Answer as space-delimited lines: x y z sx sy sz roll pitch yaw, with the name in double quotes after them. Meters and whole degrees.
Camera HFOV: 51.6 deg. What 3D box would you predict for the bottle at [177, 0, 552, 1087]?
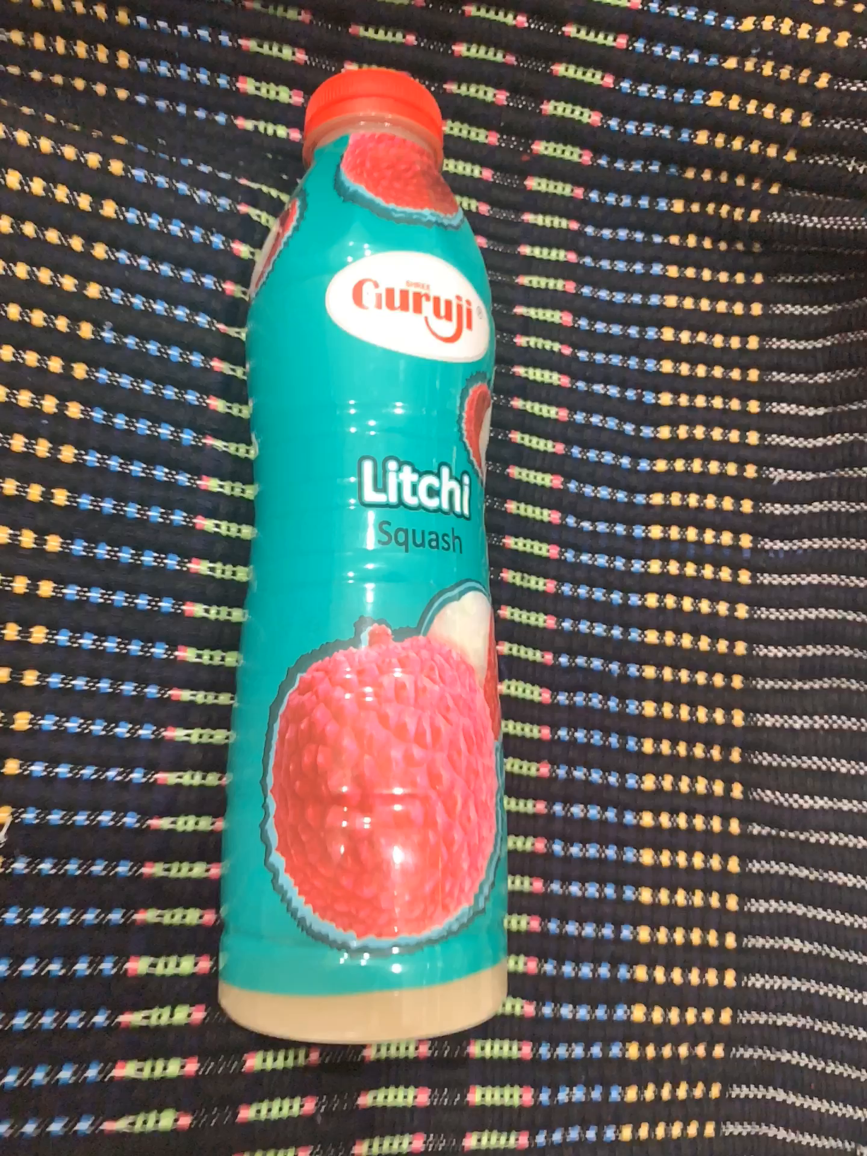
-0.028 -0.023 0.261 0.070 0.080 0.280 4 75 -27 "bottle"
